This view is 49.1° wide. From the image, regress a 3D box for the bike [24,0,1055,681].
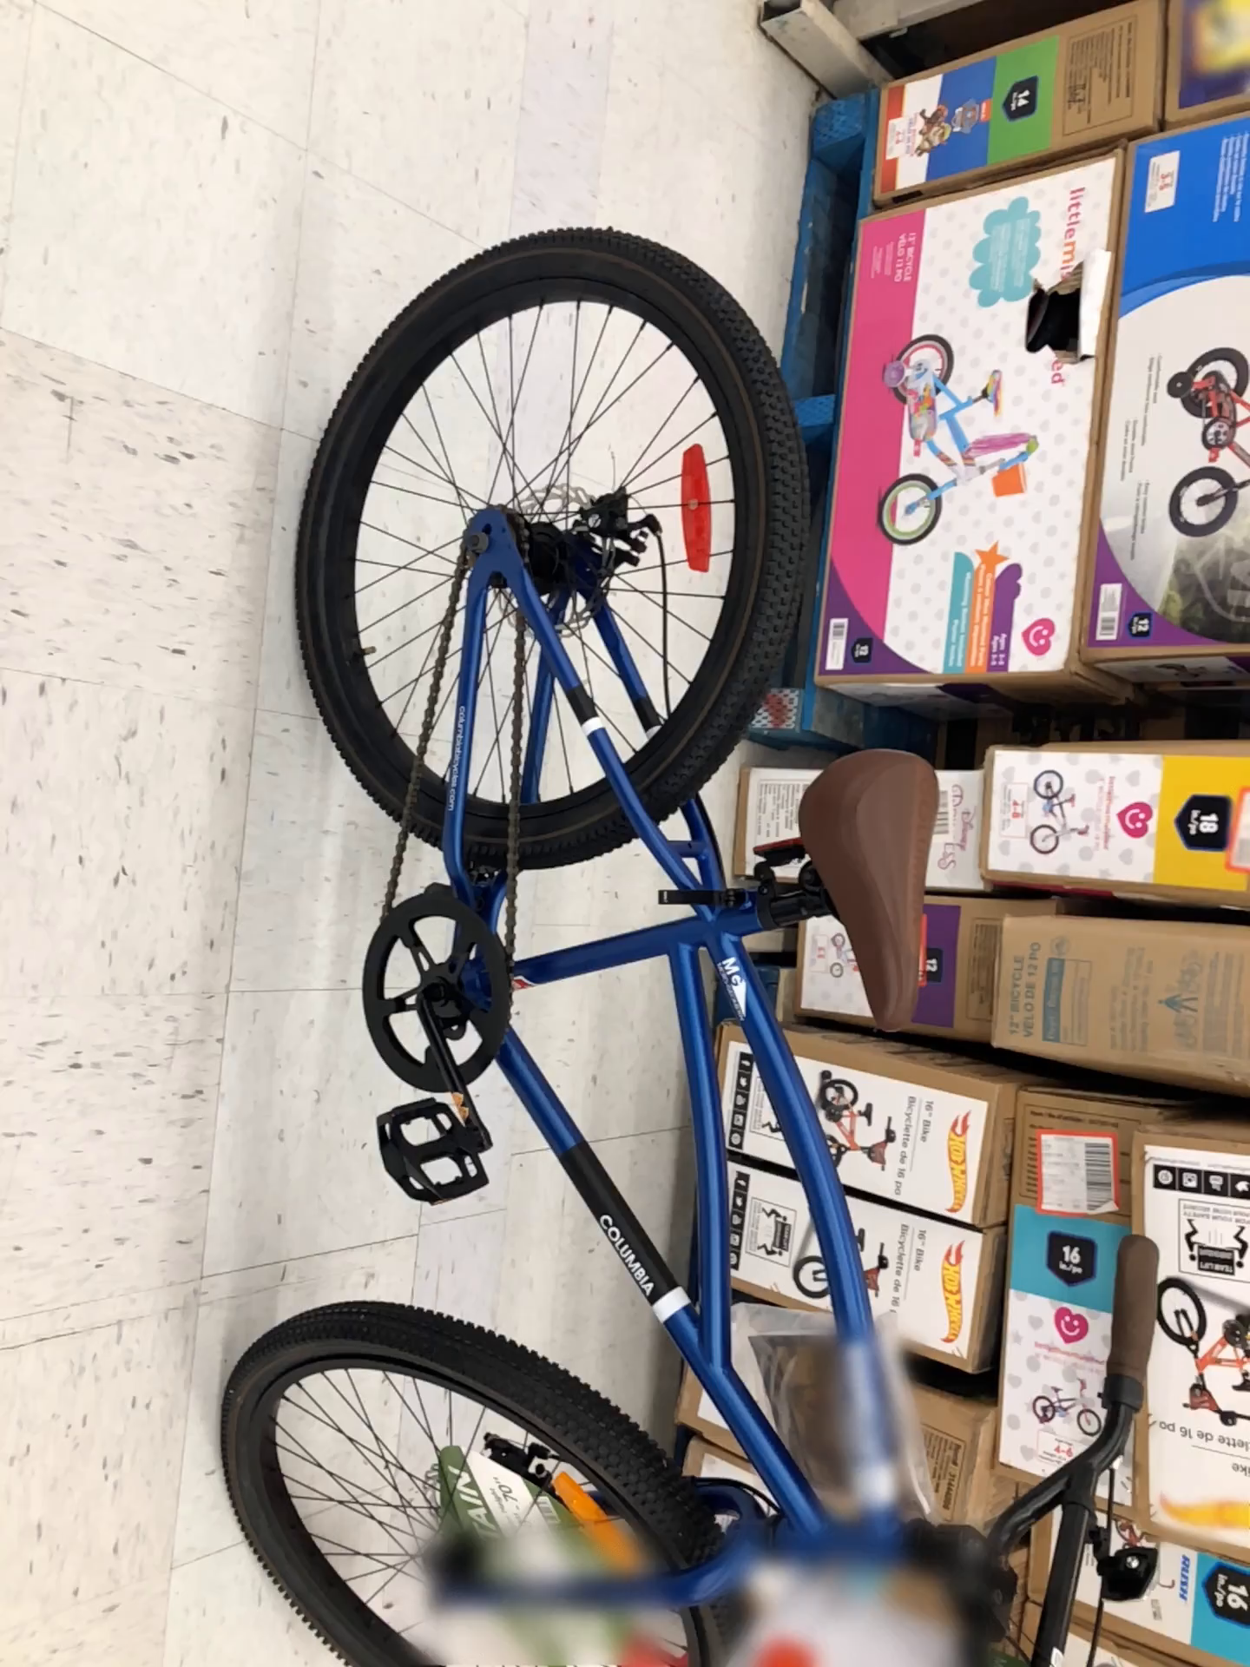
[{"bbox_3d":[-0.084,-0.972,1.591,0.652,0.928,1.552,-10,101,-49],"label":"bike"}]
